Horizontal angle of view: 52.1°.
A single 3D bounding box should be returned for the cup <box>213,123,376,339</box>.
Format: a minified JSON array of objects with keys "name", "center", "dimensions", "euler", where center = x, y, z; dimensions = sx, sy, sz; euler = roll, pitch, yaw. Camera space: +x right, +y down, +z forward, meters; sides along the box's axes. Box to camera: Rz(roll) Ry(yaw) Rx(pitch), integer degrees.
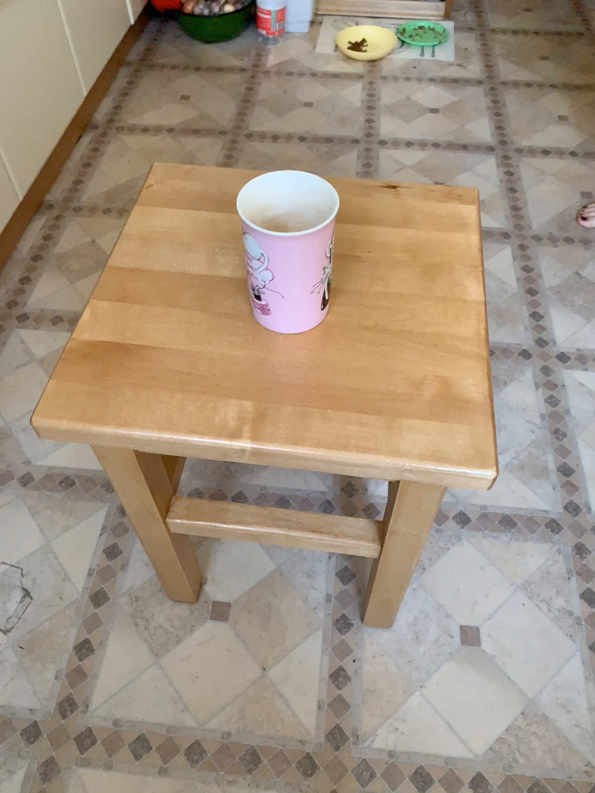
[{"name":"cup","center":[-0.006,-0.132,0.481],"dimensions":[0.080,0.099,0.121],"euler":[-18,55,-13]}]
